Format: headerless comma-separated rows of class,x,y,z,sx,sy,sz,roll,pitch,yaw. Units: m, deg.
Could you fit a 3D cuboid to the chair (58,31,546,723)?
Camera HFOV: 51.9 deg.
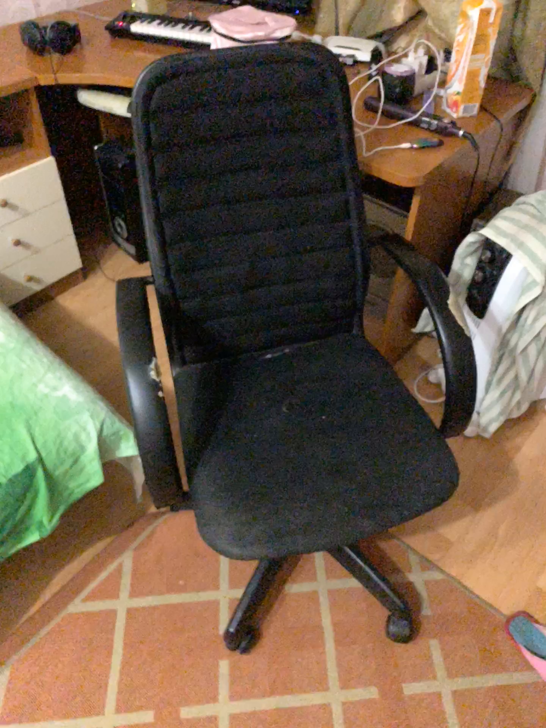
chair,0.076,0.046,1.074,0.671,0.991,0.726,-12,47,-13
